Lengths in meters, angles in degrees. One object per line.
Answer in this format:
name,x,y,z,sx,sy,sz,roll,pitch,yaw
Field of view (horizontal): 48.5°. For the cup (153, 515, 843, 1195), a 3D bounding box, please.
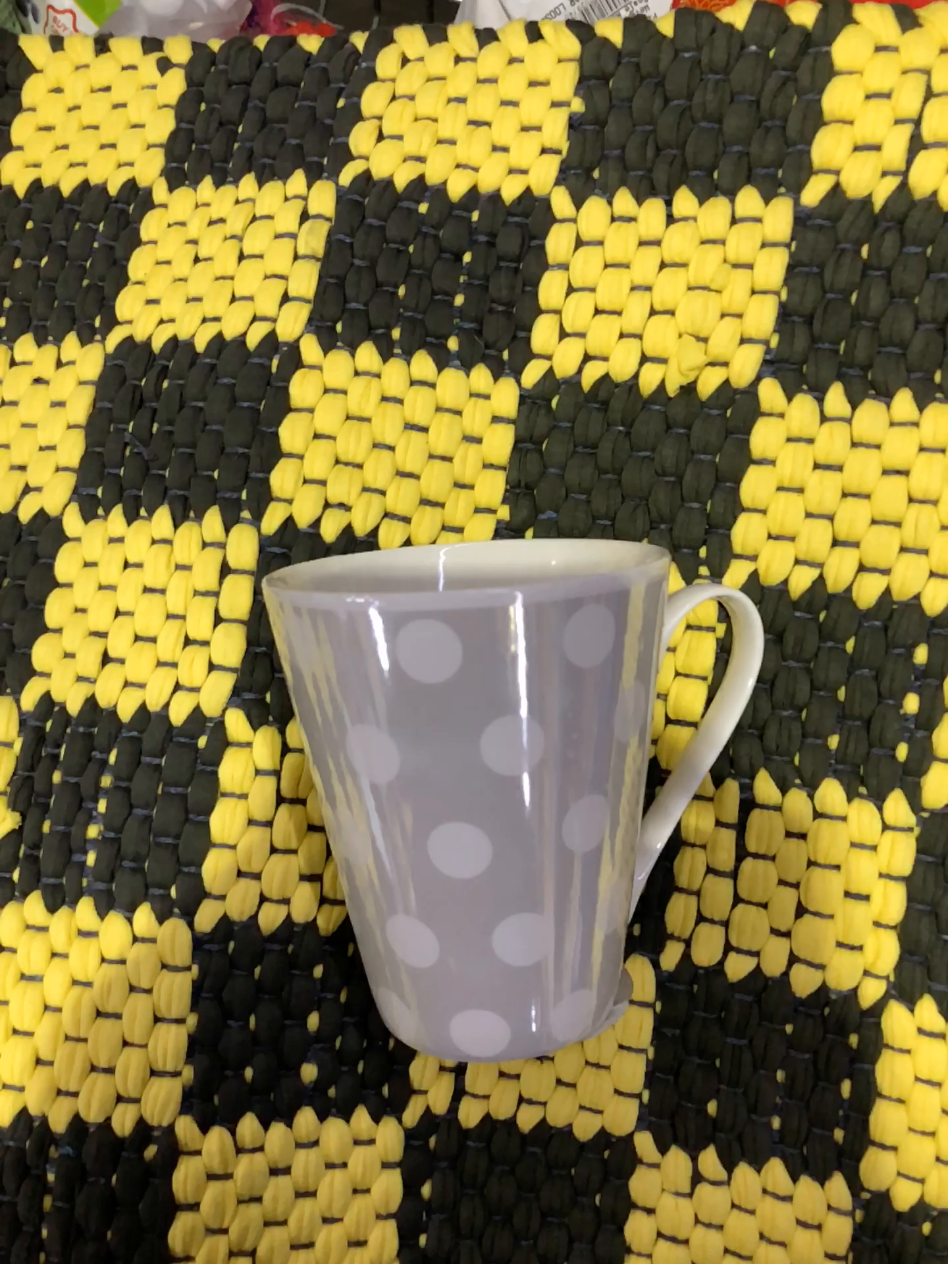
cup,0.009,0.030,0.237,0.120,0.090,0.100,-11,103,-38
